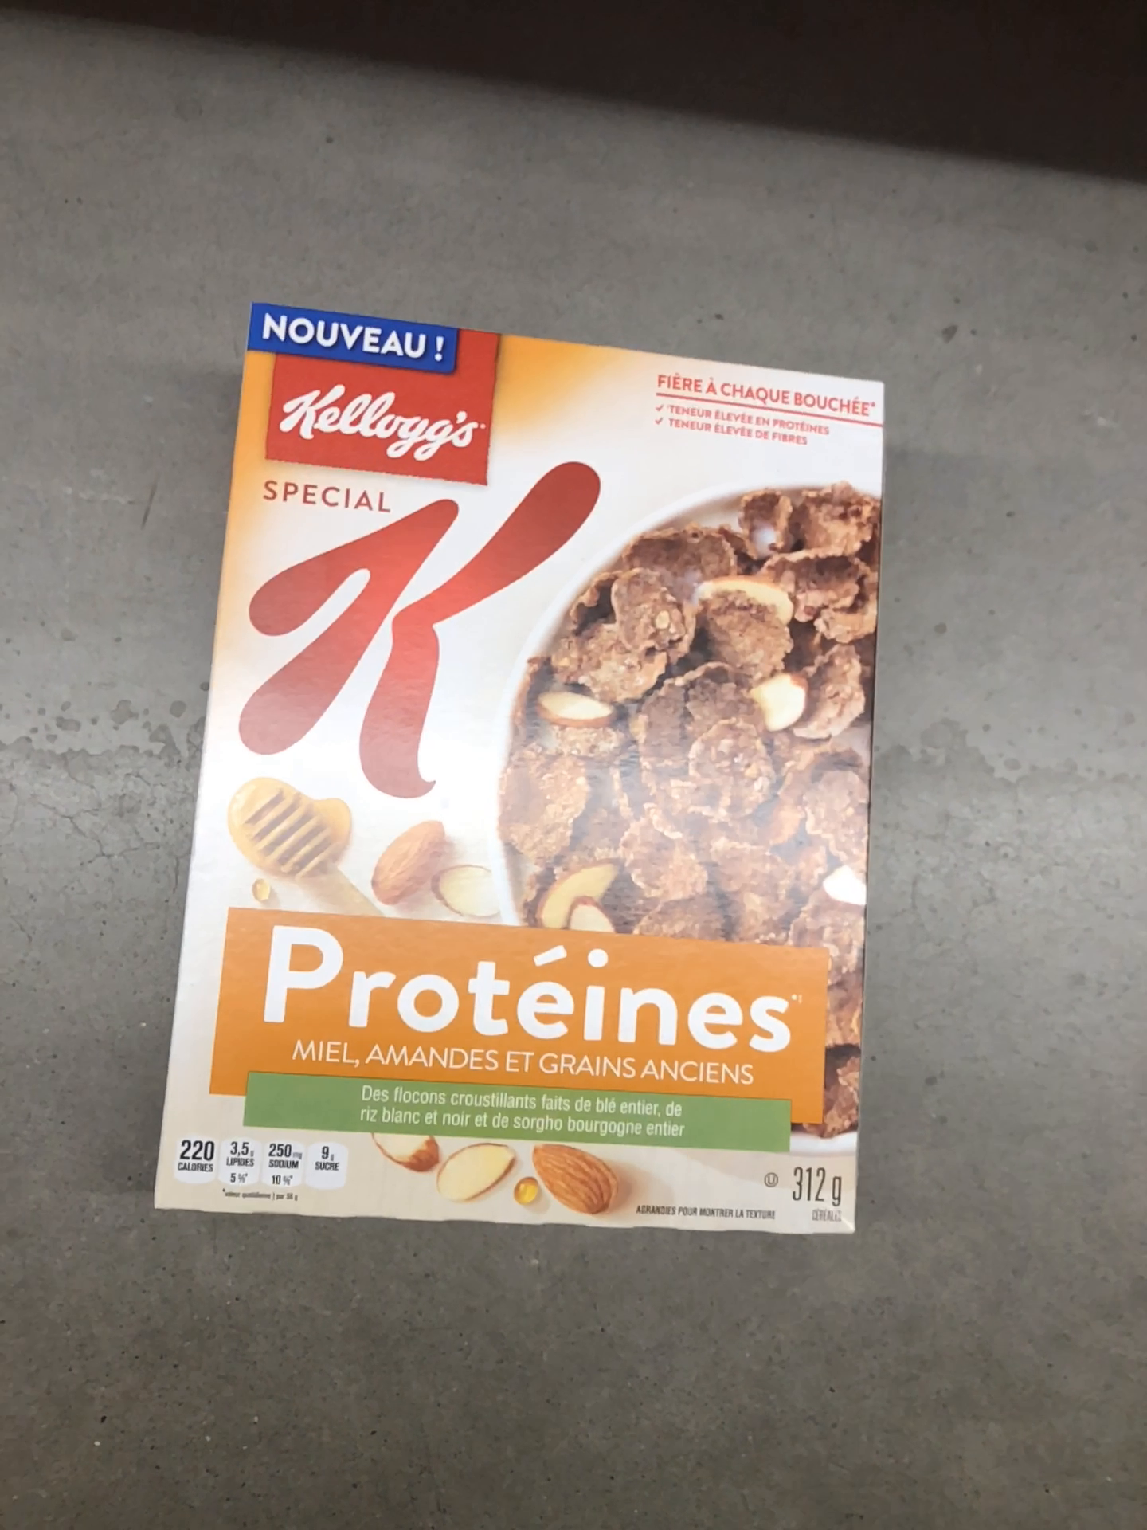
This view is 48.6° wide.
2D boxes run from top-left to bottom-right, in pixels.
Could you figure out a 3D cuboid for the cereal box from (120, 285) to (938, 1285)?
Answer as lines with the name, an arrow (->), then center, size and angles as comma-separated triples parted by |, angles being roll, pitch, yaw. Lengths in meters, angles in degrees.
cereal box -> -0.007, 0.007, 0.359 | 0.200, 0.050, 0.250 | 4, 84, -7
